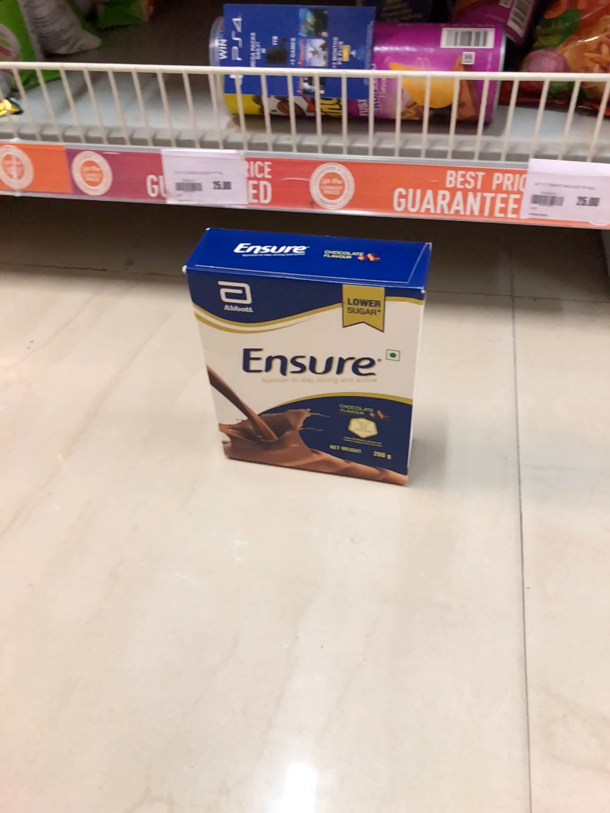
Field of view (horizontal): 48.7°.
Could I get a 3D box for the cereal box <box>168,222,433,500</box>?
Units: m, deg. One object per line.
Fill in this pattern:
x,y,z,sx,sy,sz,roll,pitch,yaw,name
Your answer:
0.003,-0.023,0.439,0.140,0.179,0.050,7,48,12,cereal box
